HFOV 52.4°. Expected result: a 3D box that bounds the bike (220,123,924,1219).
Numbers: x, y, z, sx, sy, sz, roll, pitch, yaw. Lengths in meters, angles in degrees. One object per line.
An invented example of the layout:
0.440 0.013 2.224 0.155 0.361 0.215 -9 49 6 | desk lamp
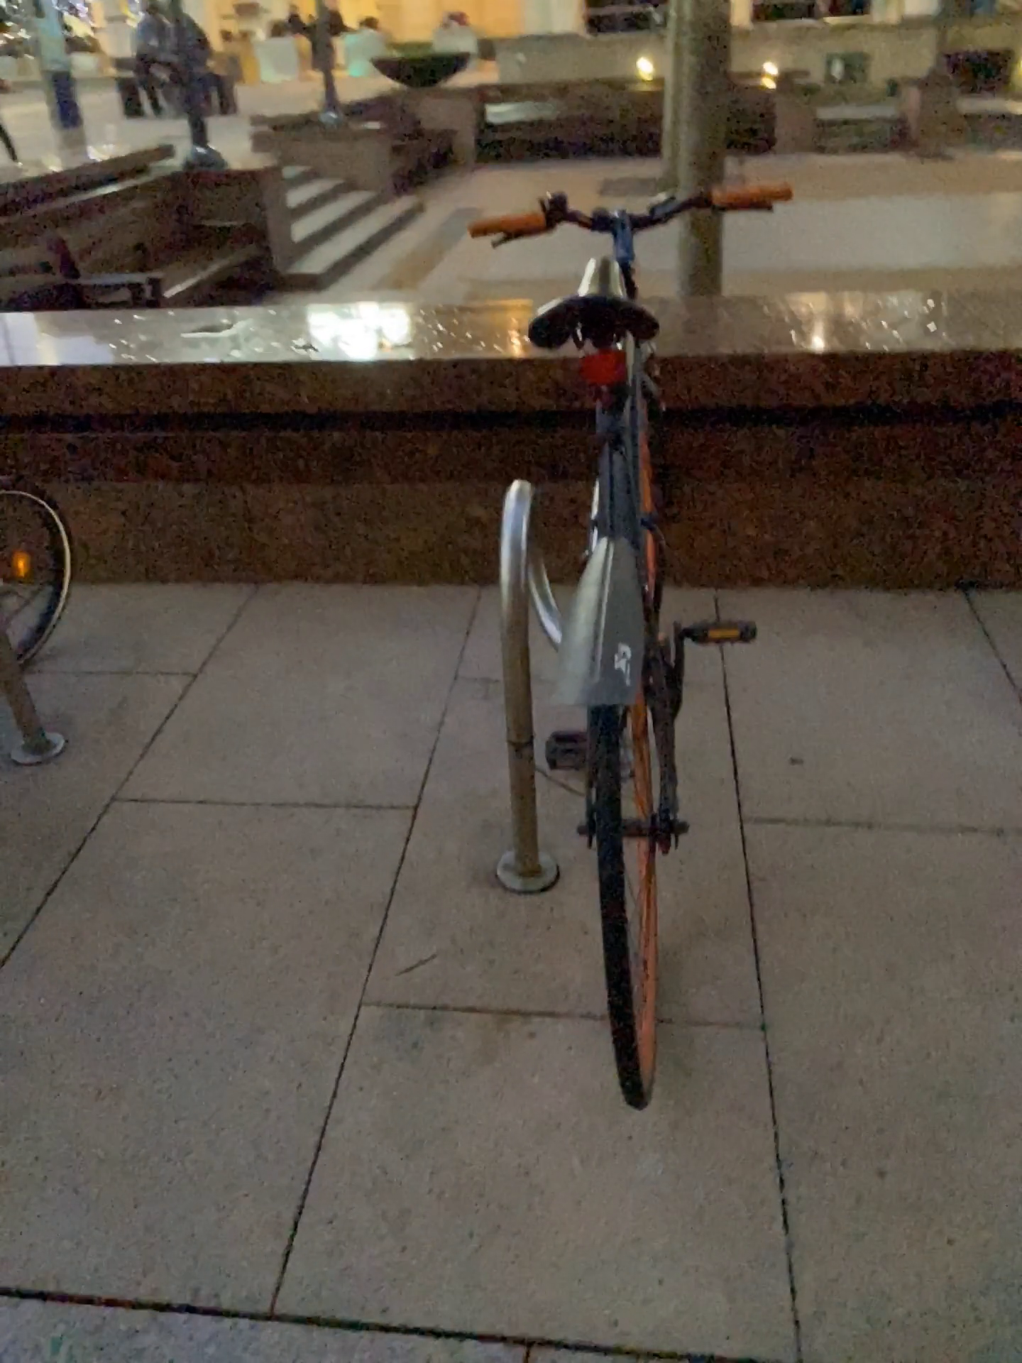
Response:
0.152 -0.248 1.701 0.524 0.981 1.649 1 33 7 | bike
